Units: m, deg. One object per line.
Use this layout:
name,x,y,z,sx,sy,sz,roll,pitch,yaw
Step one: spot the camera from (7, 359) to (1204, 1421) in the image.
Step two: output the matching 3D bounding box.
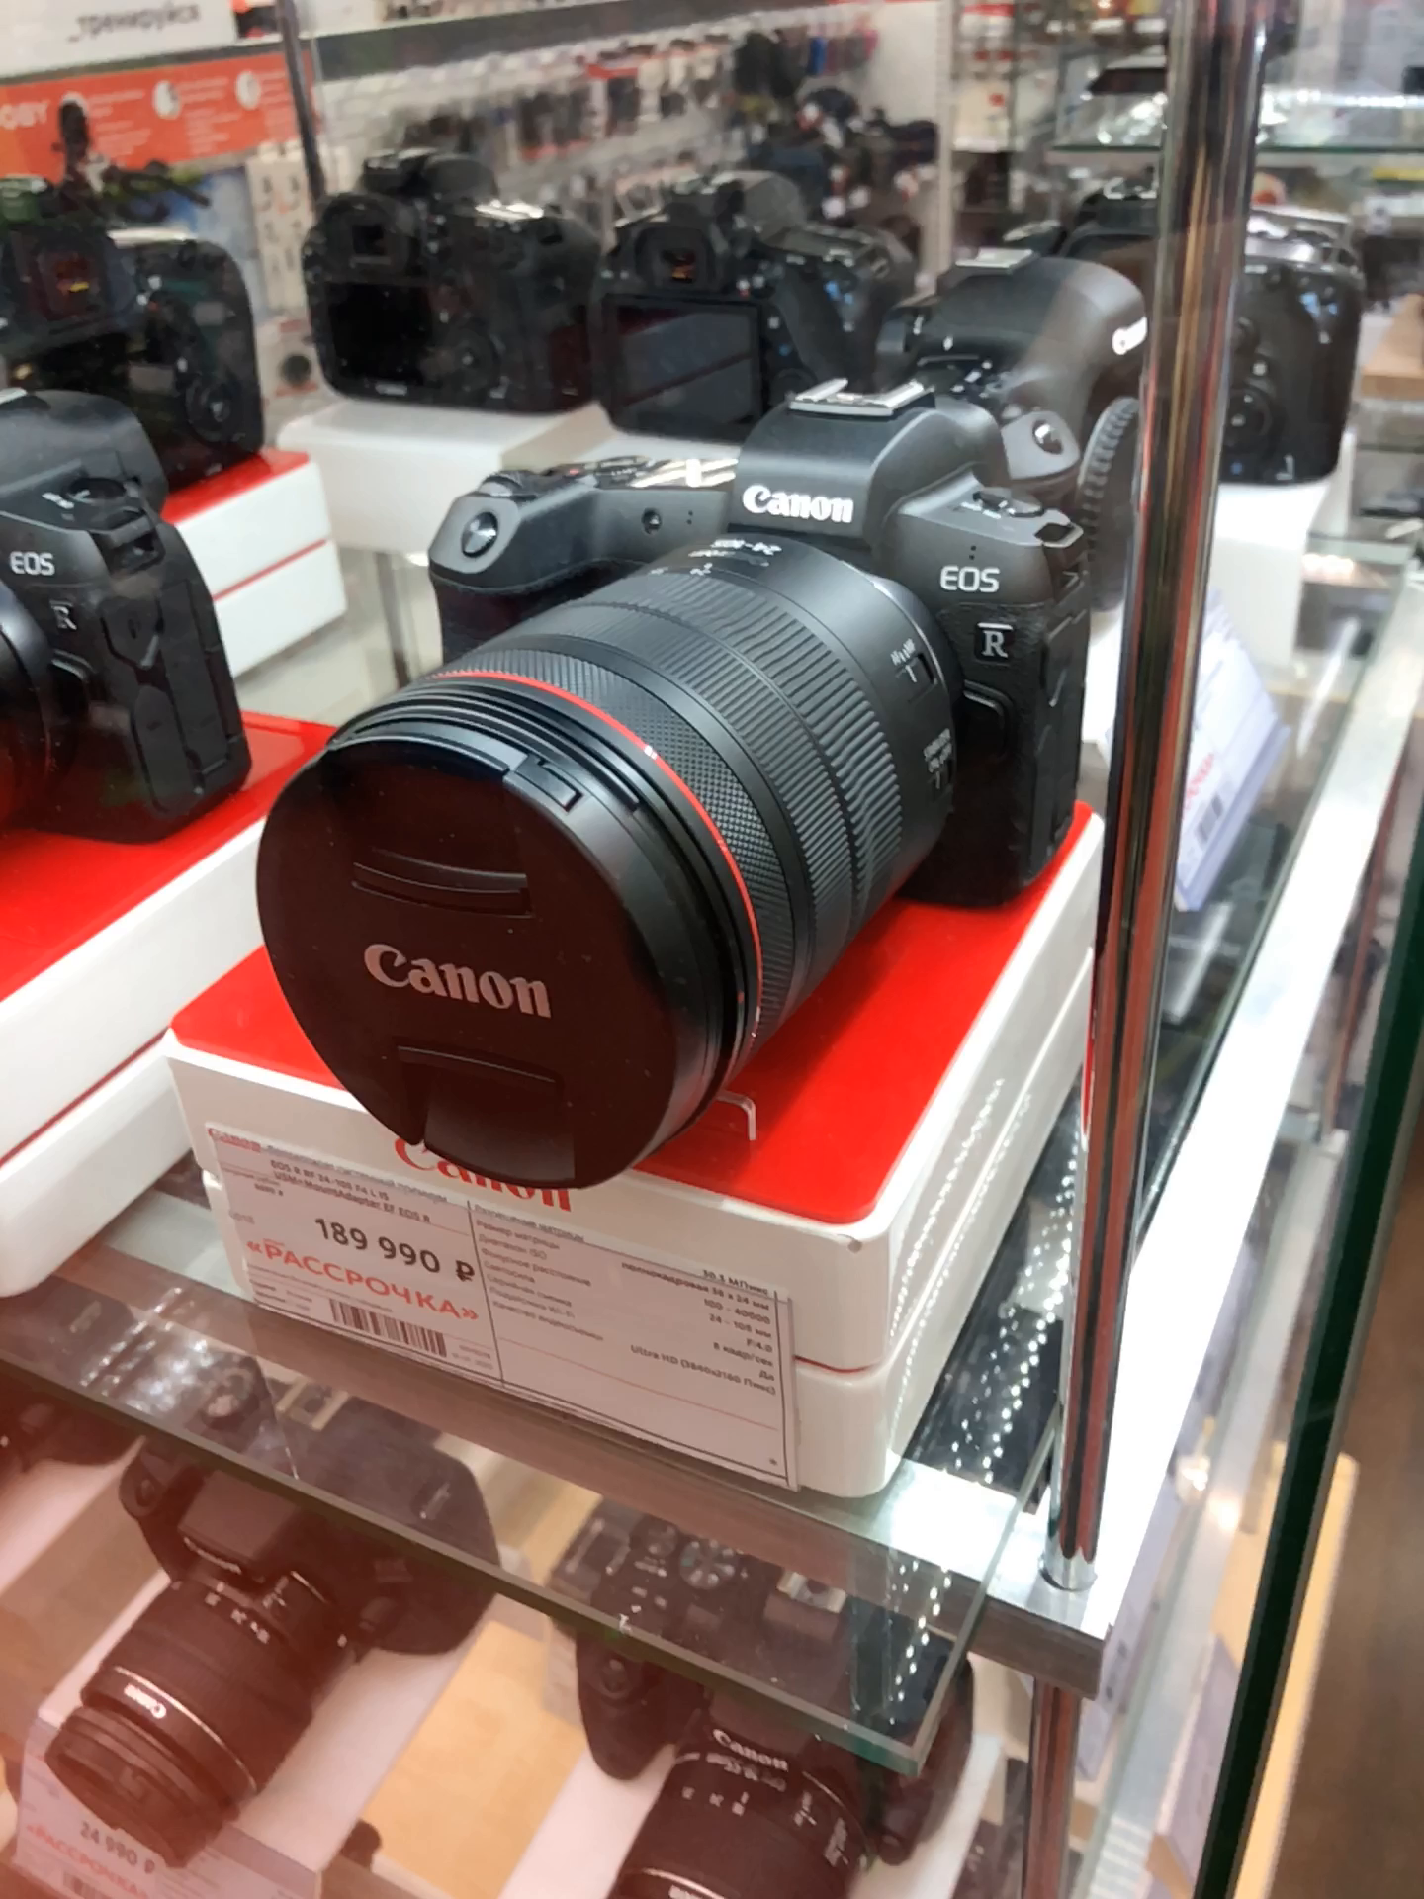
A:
camera,-0.002,-0.034,0.311,0.140,0.110,0.184,13,36,24
